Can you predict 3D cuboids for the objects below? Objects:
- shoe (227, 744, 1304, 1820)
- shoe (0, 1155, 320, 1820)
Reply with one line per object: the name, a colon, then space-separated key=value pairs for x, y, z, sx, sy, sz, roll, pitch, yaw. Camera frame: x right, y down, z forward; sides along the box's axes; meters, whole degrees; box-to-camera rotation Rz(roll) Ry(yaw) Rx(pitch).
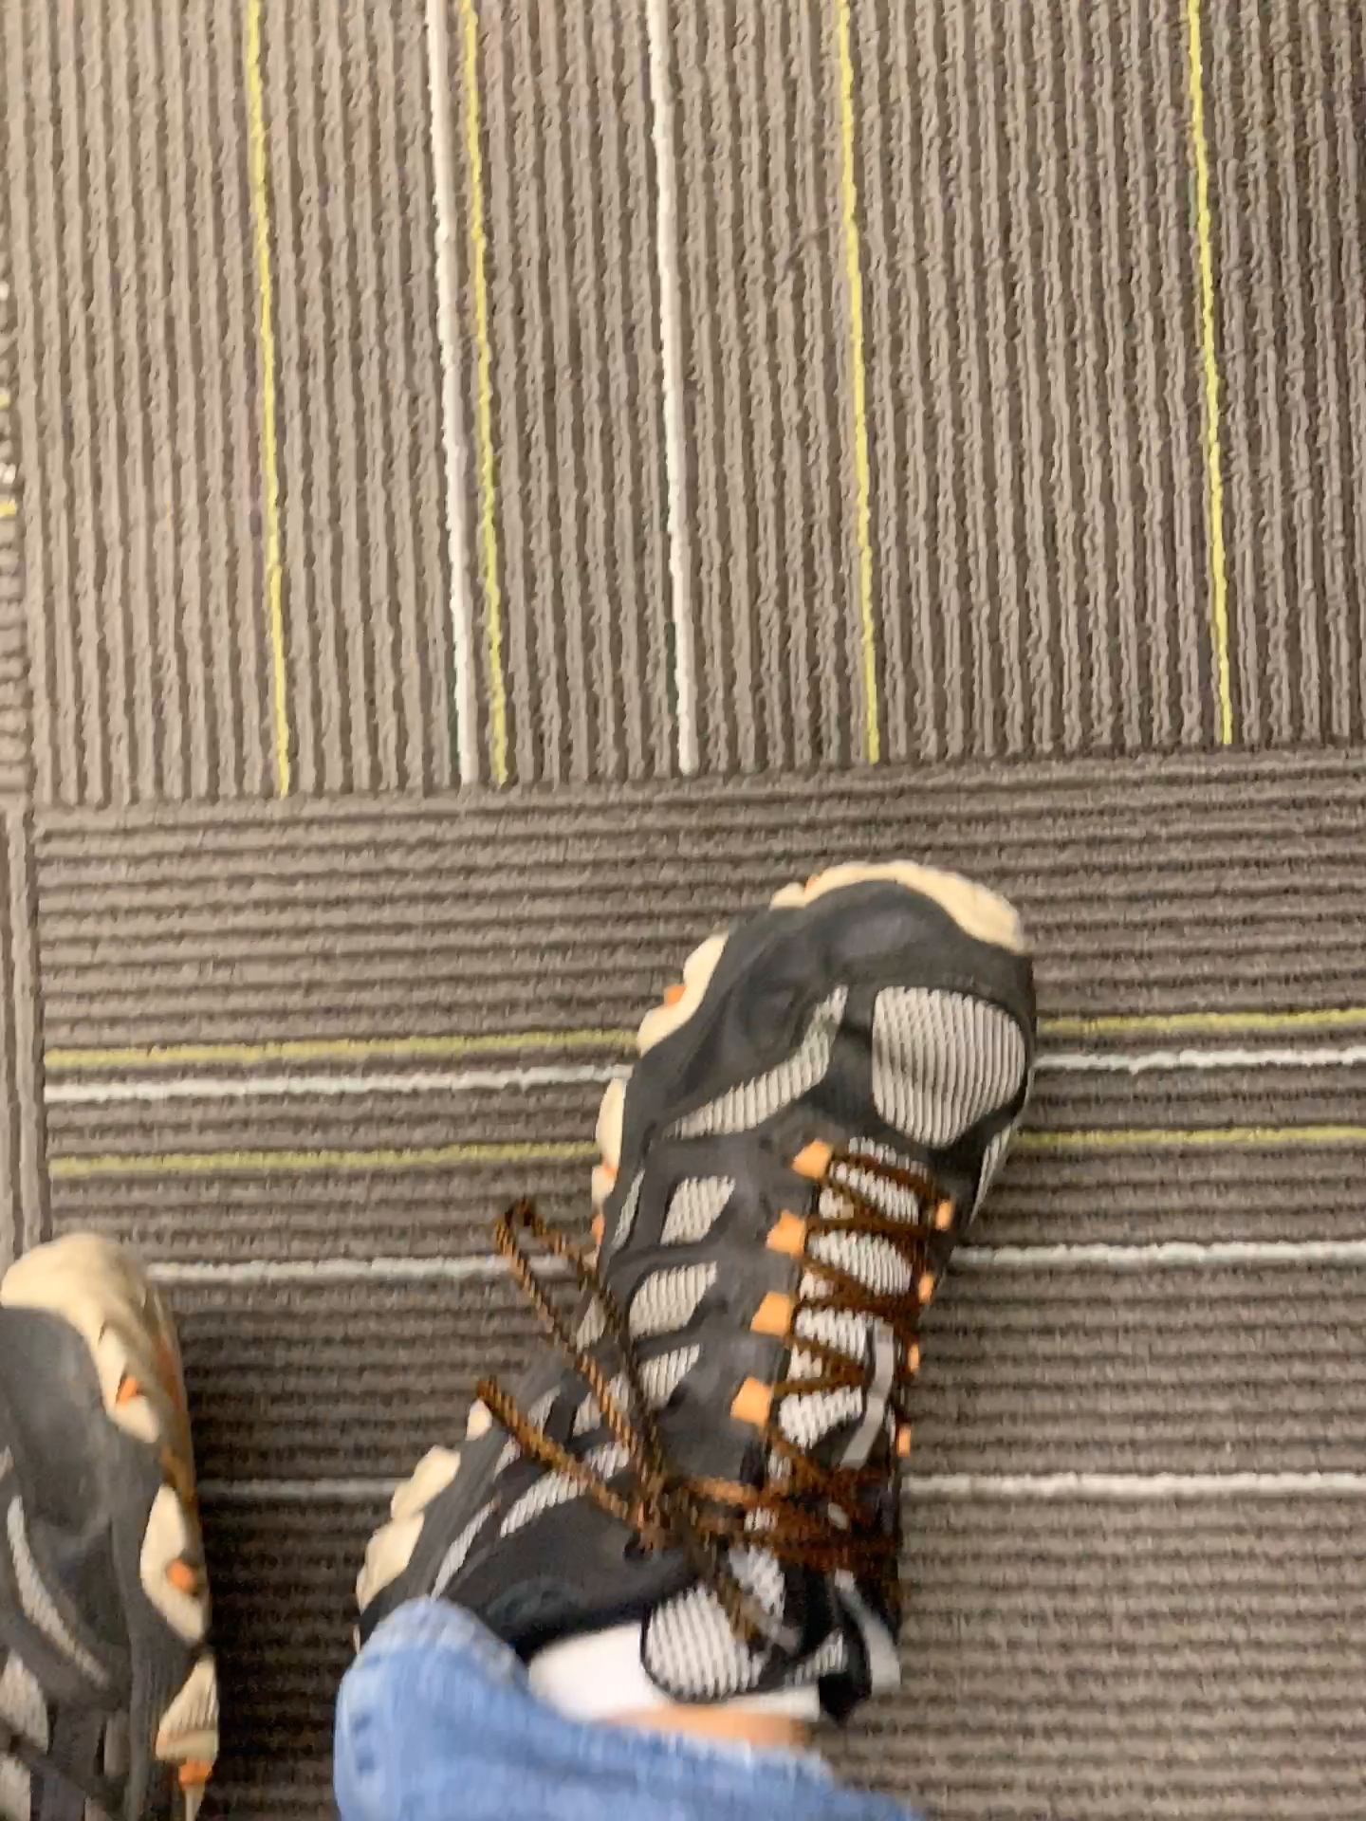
shoe: x=0.017 y=0.138 z=0.388 sx=0.119 sy=0.119 sz=0.325 roll=34 pitch=101 yaw=39
shoe: x=-0.191 y=0.253 z=0.405 sx=0.127 sy=0.119 sz=0.325 roll=-4 pitch=98 yaw=-34
